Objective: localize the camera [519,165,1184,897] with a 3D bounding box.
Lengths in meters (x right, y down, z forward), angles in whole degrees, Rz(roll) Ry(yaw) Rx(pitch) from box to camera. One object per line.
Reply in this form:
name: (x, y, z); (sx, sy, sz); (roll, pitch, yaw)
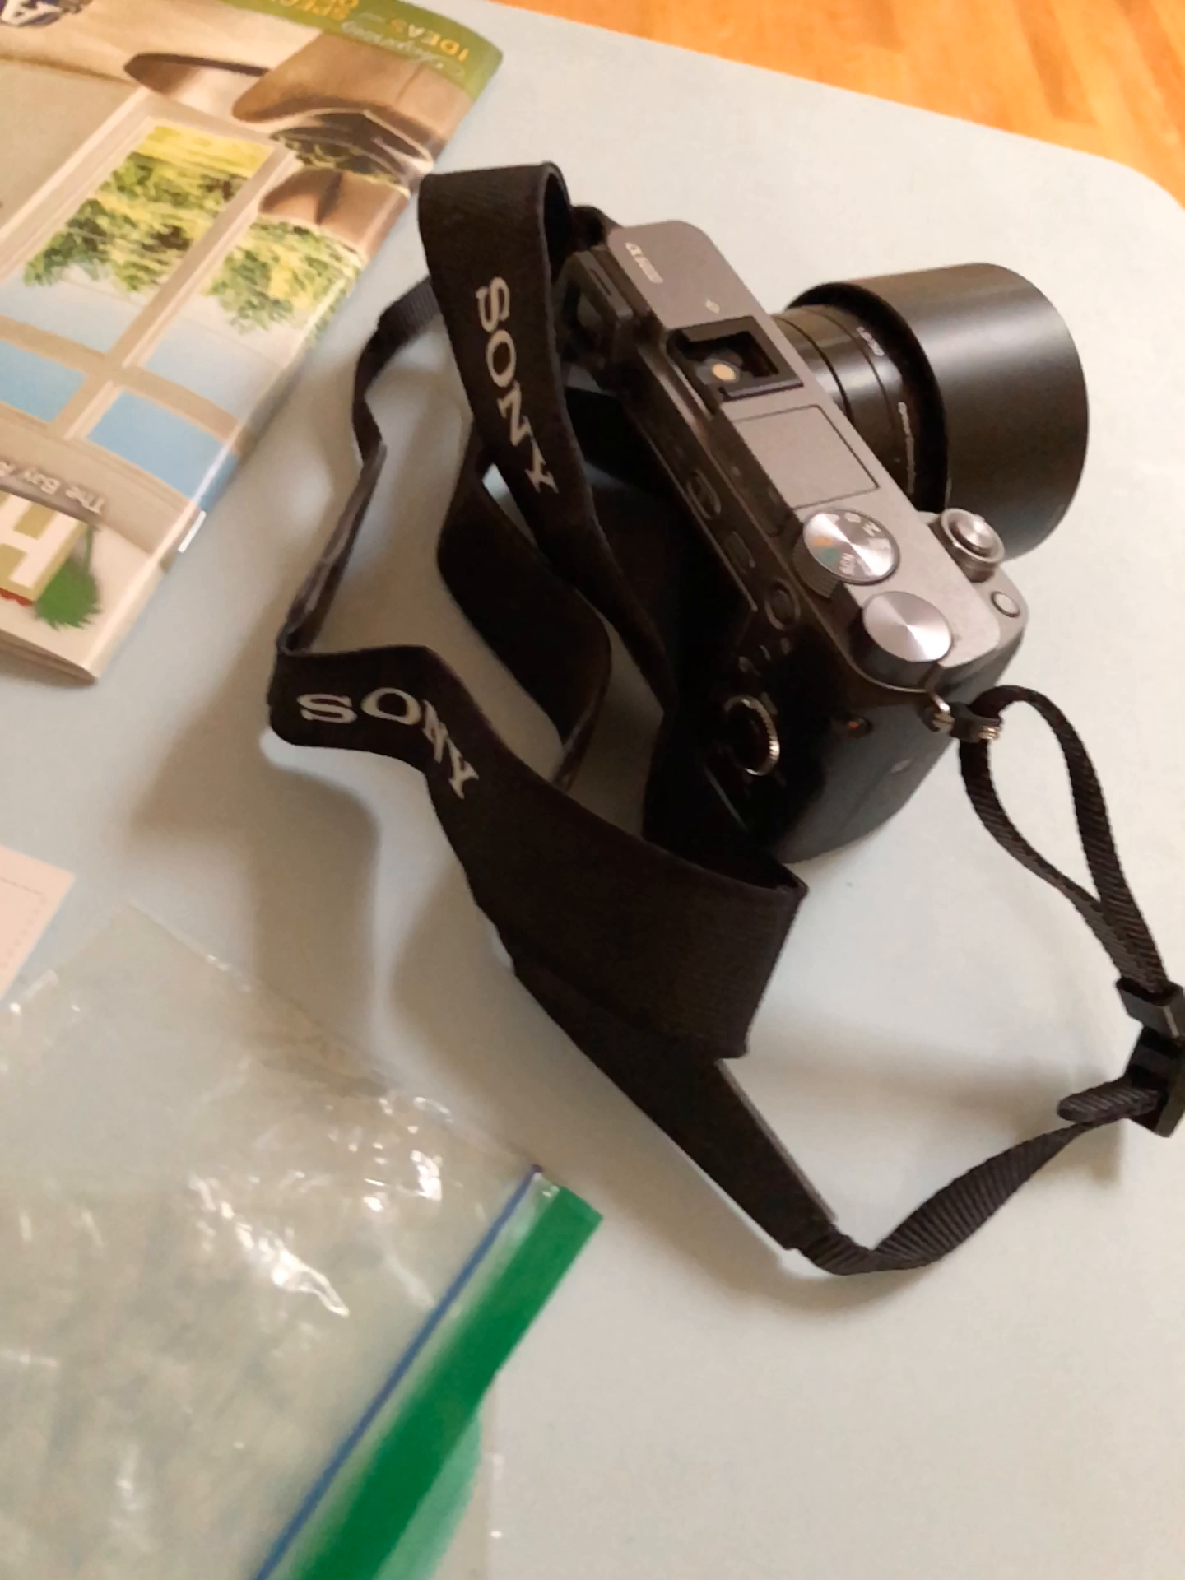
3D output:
camera: (0.066, -0.063, 0.289); (0.110, 0.070, 0.130); (-16, 62, -25)
